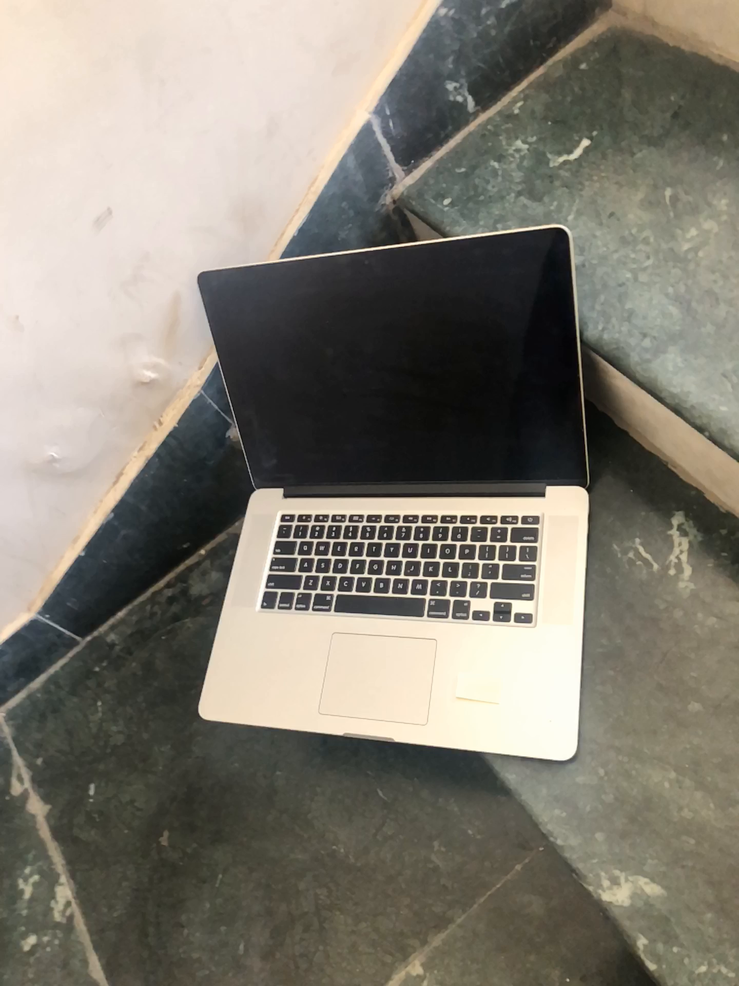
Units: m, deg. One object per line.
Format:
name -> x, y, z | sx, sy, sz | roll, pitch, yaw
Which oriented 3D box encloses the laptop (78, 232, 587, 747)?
laptop -> -0.003, -0.001, 0.712 | 0.341, 0.194, 0.364 | -1, 62, 22
